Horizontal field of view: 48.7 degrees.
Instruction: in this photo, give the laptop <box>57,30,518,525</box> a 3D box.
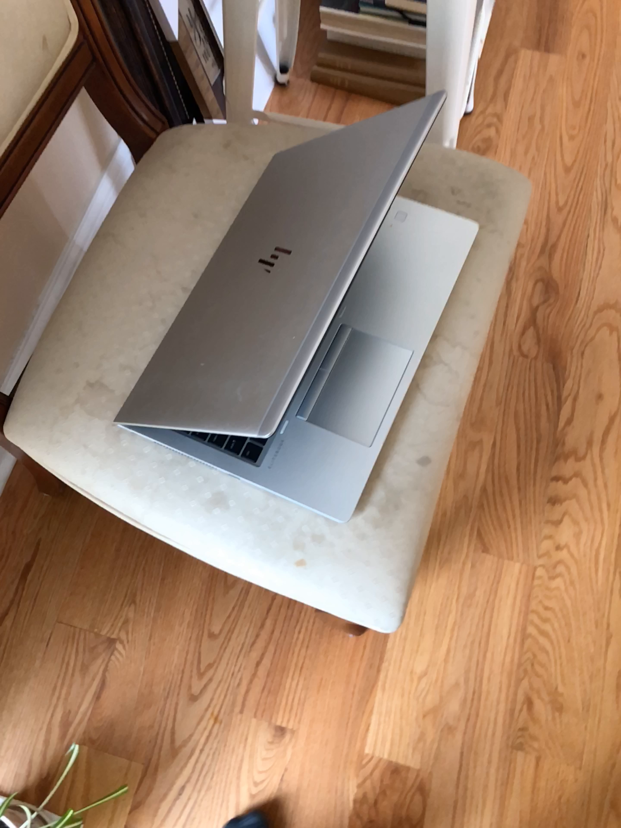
[{"bbox_3d":[-0.004,-0.129,0.636,0.244,0.159,0.366,23,70,10],"label":"laptop"}]
